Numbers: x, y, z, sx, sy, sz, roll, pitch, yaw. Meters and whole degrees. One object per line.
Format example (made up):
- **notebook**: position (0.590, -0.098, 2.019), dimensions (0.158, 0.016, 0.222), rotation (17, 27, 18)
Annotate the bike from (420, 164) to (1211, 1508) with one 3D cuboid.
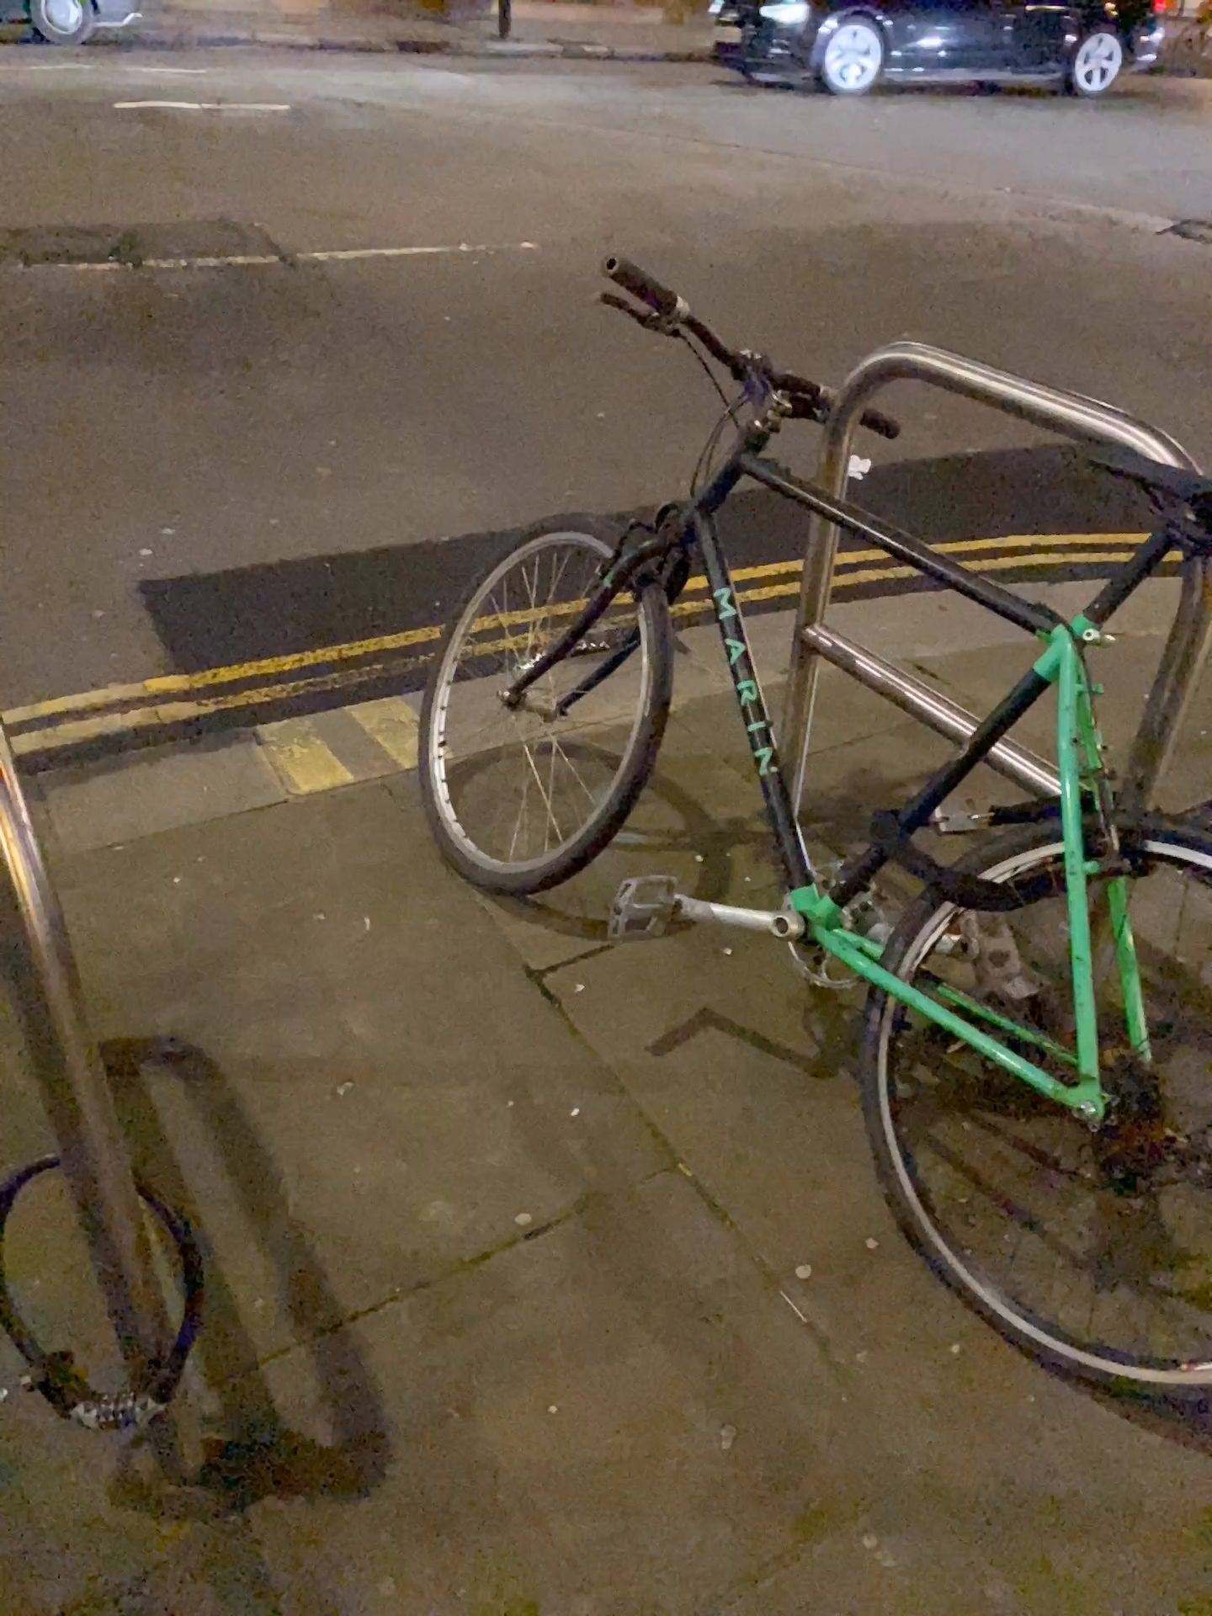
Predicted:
- **bike**: position (0.460, -0.190, 1.733), dimensions (0.640, 1.014, 1.692), rotation (-22, 42, -31)
